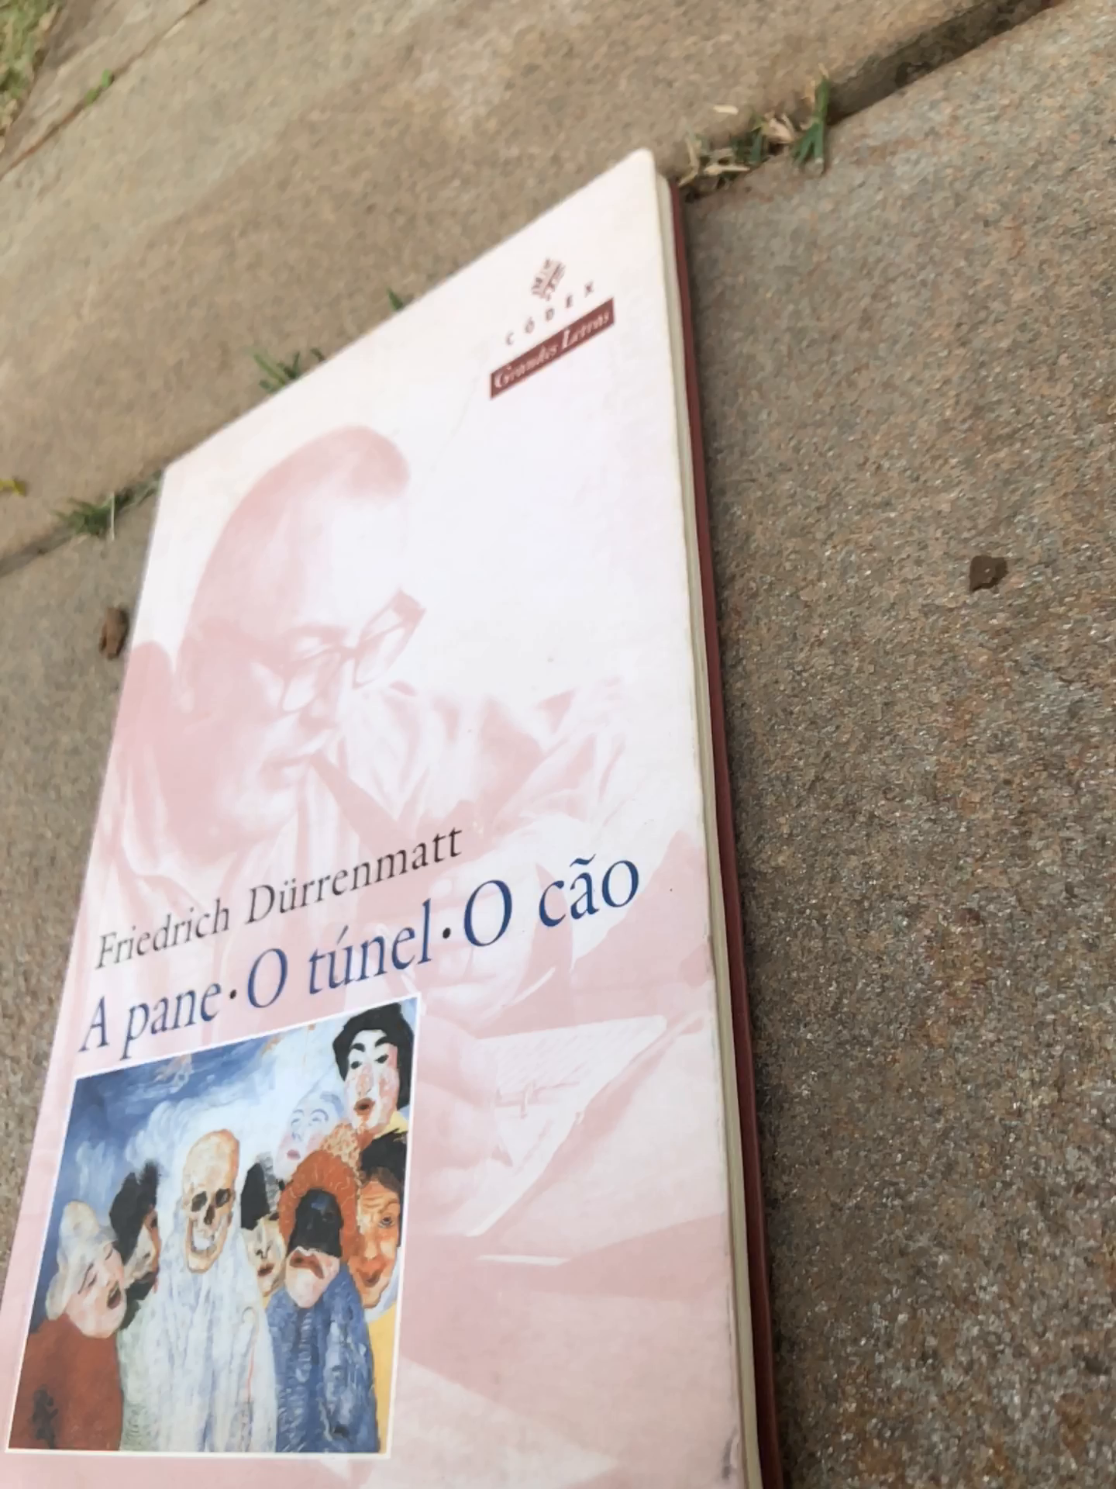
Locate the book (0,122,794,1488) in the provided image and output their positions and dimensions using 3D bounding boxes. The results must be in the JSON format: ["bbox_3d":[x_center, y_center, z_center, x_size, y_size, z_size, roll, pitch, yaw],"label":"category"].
[{"bbox_3d":[-0.039,0.010,0.199,0.140,0.015,0.200,-20,56,32],"label":"book"}]
